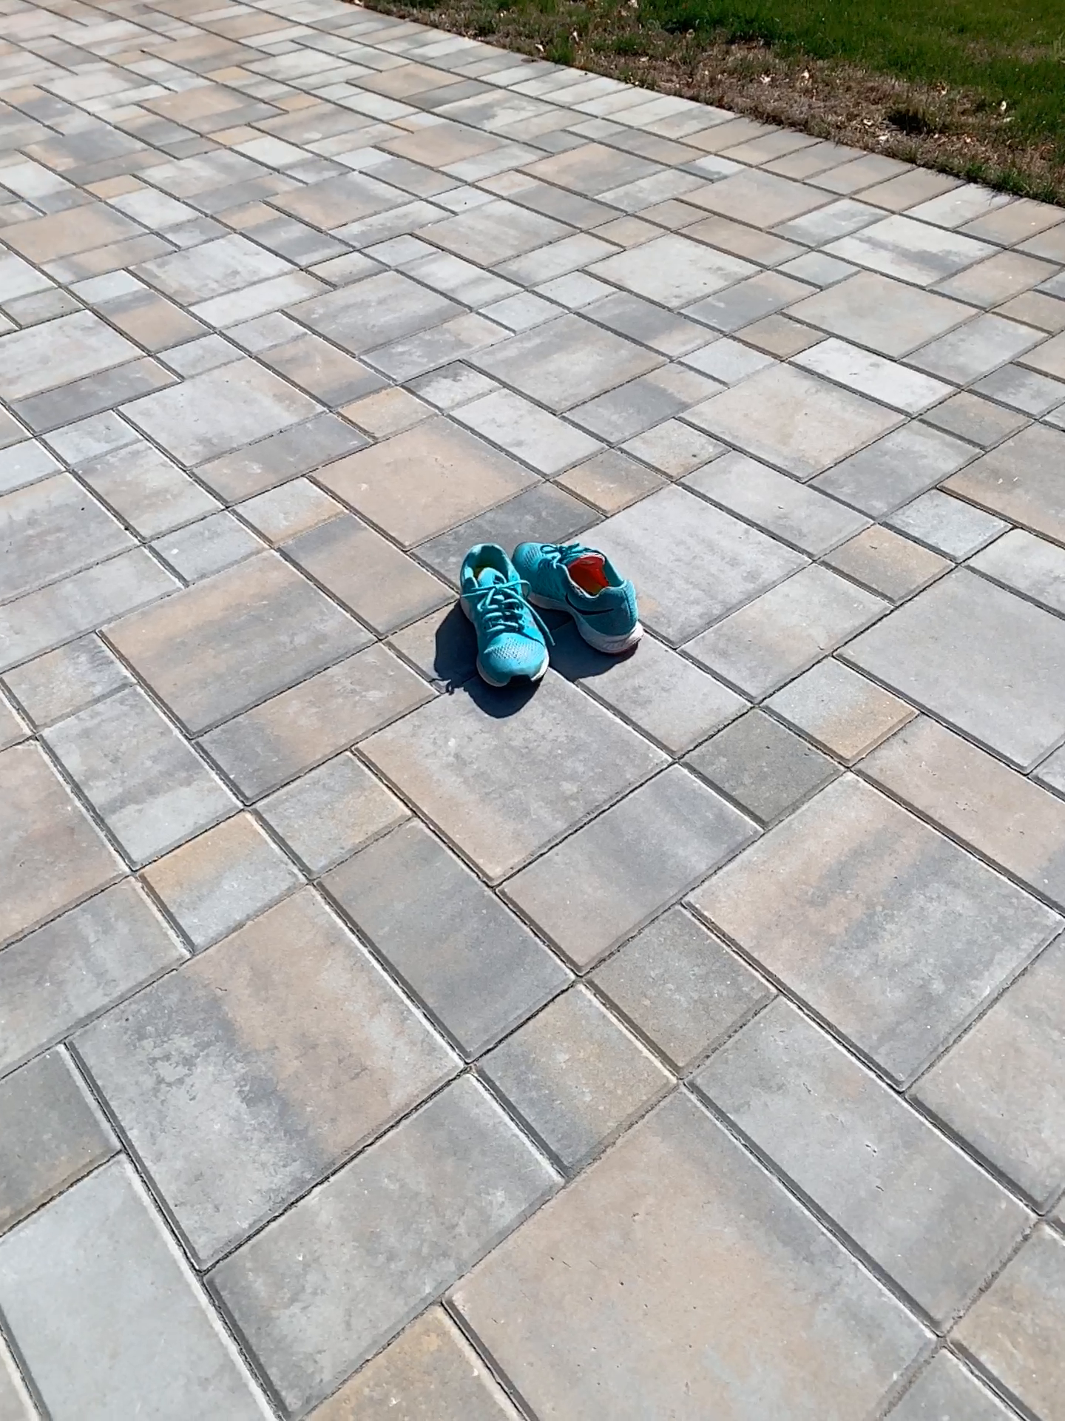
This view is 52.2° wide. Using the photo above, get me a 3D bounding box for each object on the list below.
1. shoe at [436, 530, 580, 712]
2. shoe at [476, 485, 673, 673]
[{"bbox_3d":[-0.038,-0.132,1.520,0.130,0.100,0.271,-13,40,-10],"label":"shoe"},{"bbox_3d":[0.054,-0.189,1.515,0.130,0.100,0.271,-28,50,-23],"label":"shoe"}]
